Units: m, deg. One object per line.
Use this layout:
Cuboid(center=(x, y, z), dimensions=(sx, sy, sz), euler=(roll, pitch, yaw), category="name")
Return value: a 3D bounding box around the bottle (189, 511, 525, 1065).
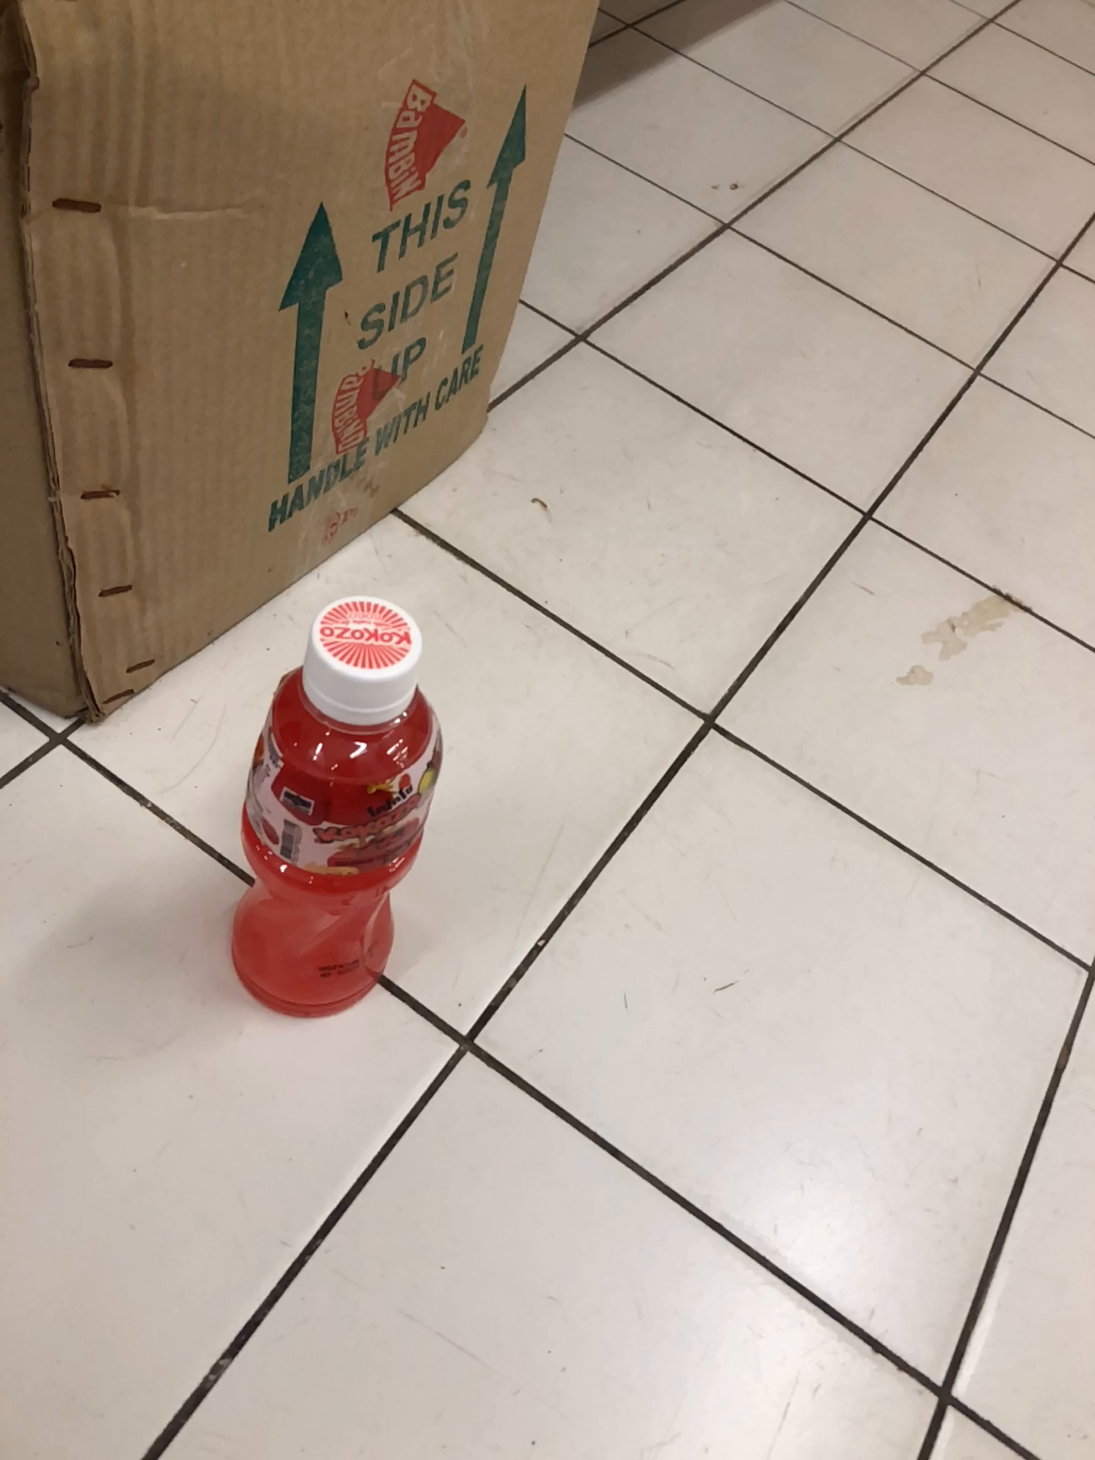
Cuboid(center=(-0.069, 0.030, 0.381), dimensions=(0.060, 0.189, 0.060), euler=(8, 52, -11), category="bottle")
